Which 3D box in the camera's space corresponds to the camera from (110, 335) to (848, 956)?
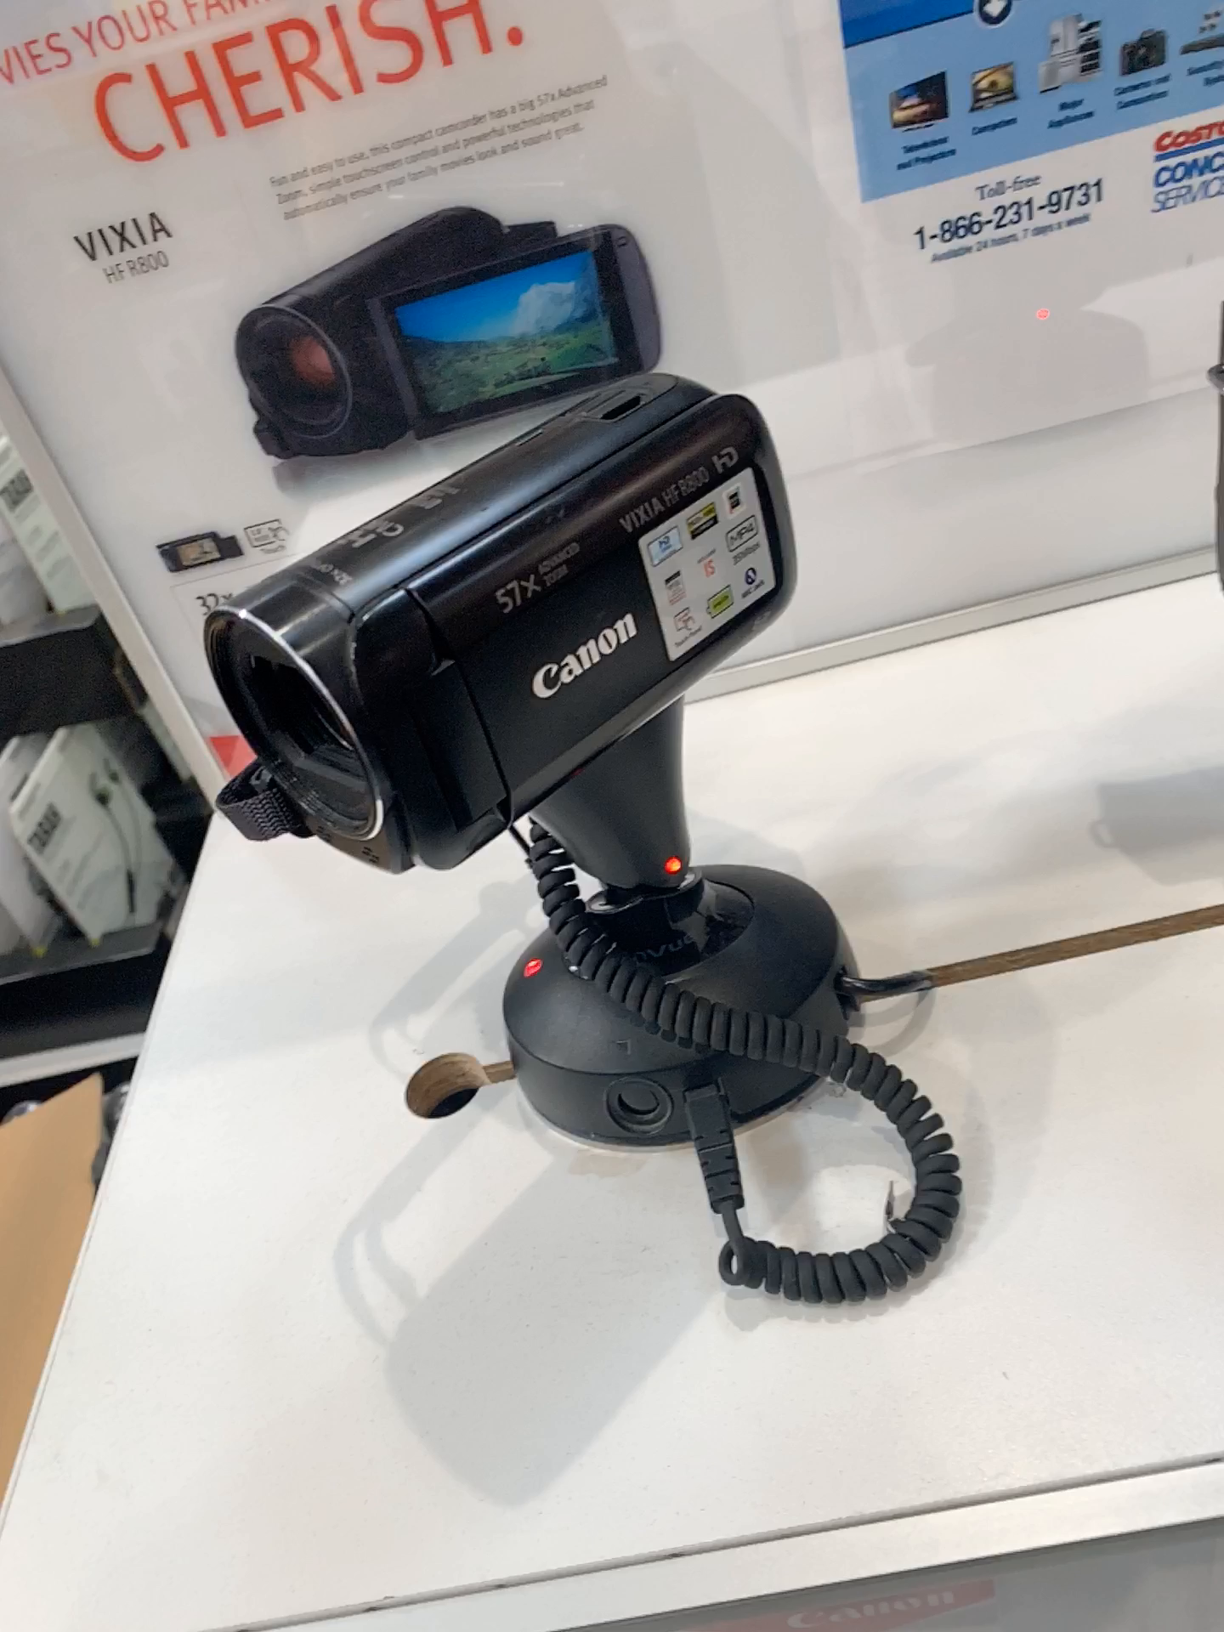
[{"bbox_3d":[-0.017,-0.039,0.231,0.058,0.054,0.113,22,49,41],"label":"camera"}]
